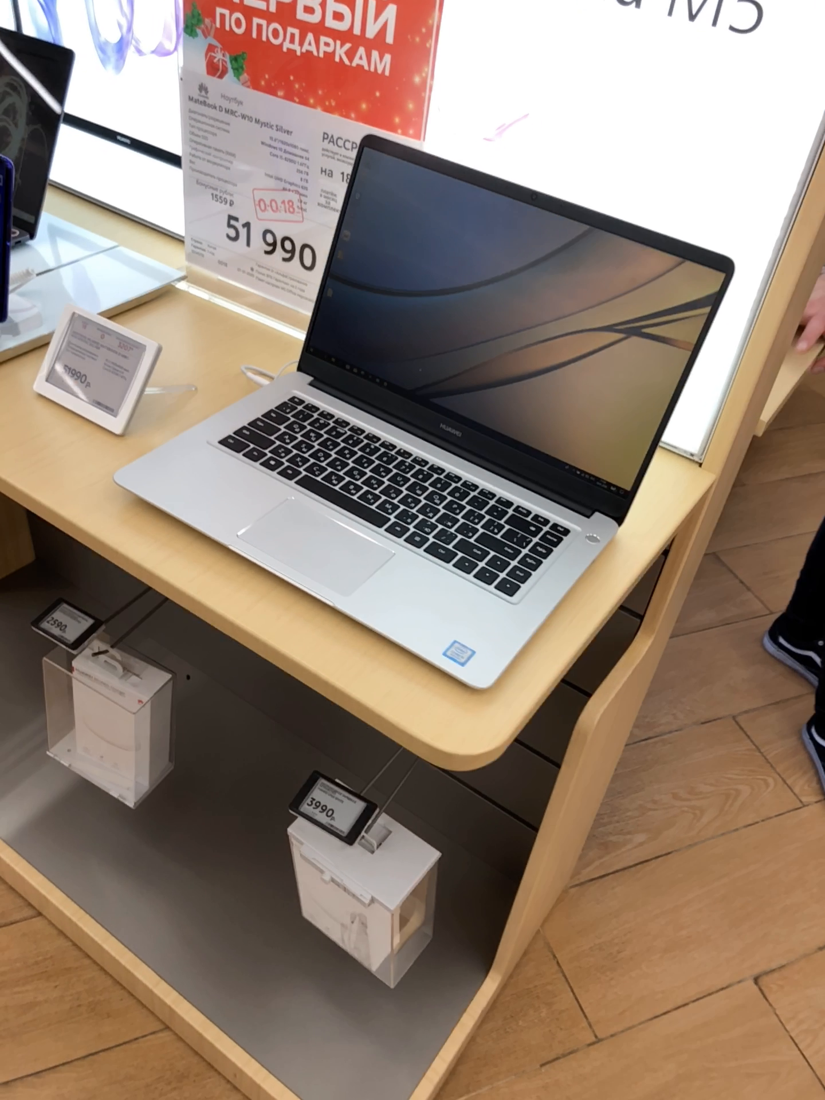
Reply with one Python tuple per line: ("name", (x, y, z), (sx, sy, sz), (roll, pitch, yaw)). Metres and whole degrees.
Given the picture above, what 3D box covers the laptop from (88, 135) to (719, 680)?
("laptop", (-0.001, -0.141, 0.707), (0.341, 0.204, 0.307), (28, 43, 20))
